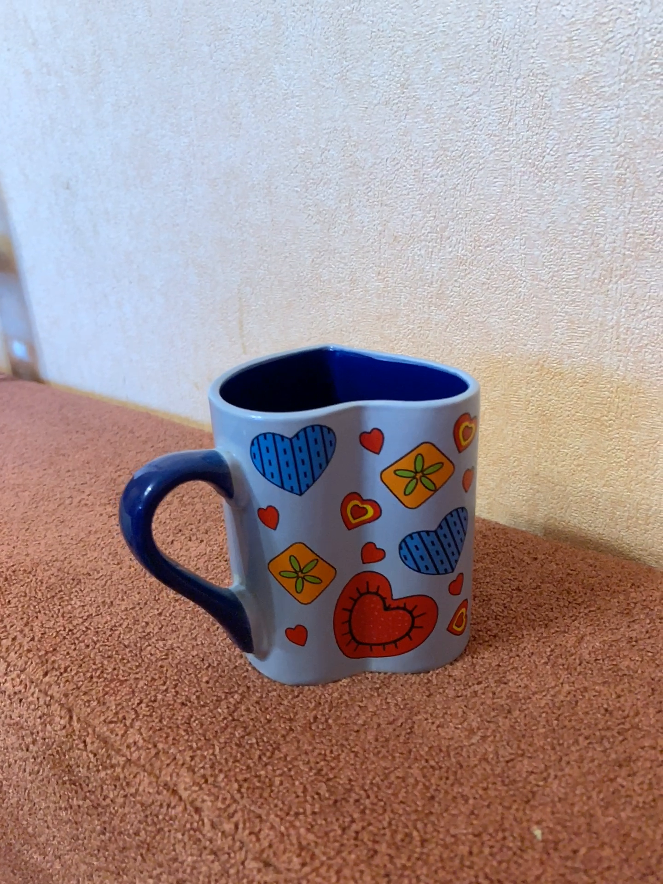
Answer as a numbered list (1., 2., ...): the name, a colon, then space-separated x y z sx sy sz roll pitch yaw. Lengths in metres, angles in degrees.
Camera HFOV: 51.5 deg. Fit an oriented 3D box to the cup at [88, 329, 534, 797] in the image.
1. cup: -0.003 0.023 0.218 0.088 0.090 0.098 17 30 42
